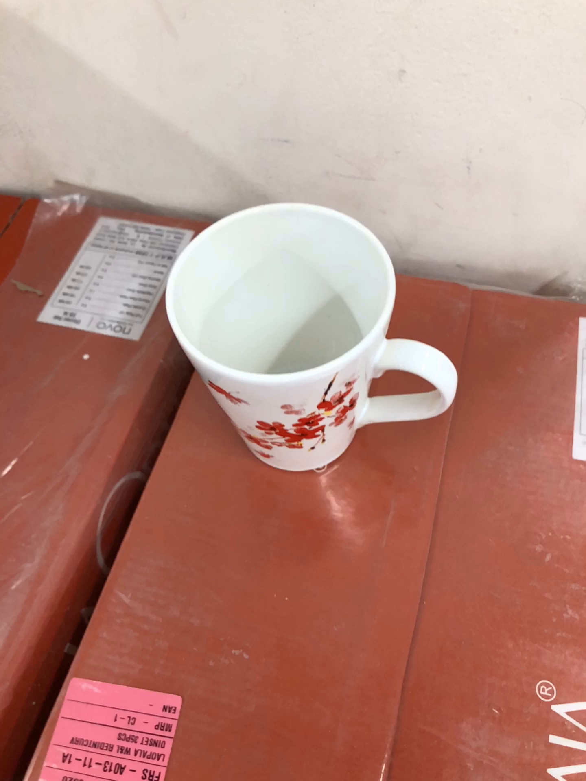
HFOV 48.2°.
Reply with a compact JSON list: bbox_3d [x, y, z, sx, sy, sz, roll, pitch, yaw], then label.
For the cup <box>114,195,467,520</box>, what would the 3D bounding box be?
[{"bbox_3d":[0.006,-0.010,0.270,0.110,0.100,0.080,7,59,10],"label":"cup"}]
